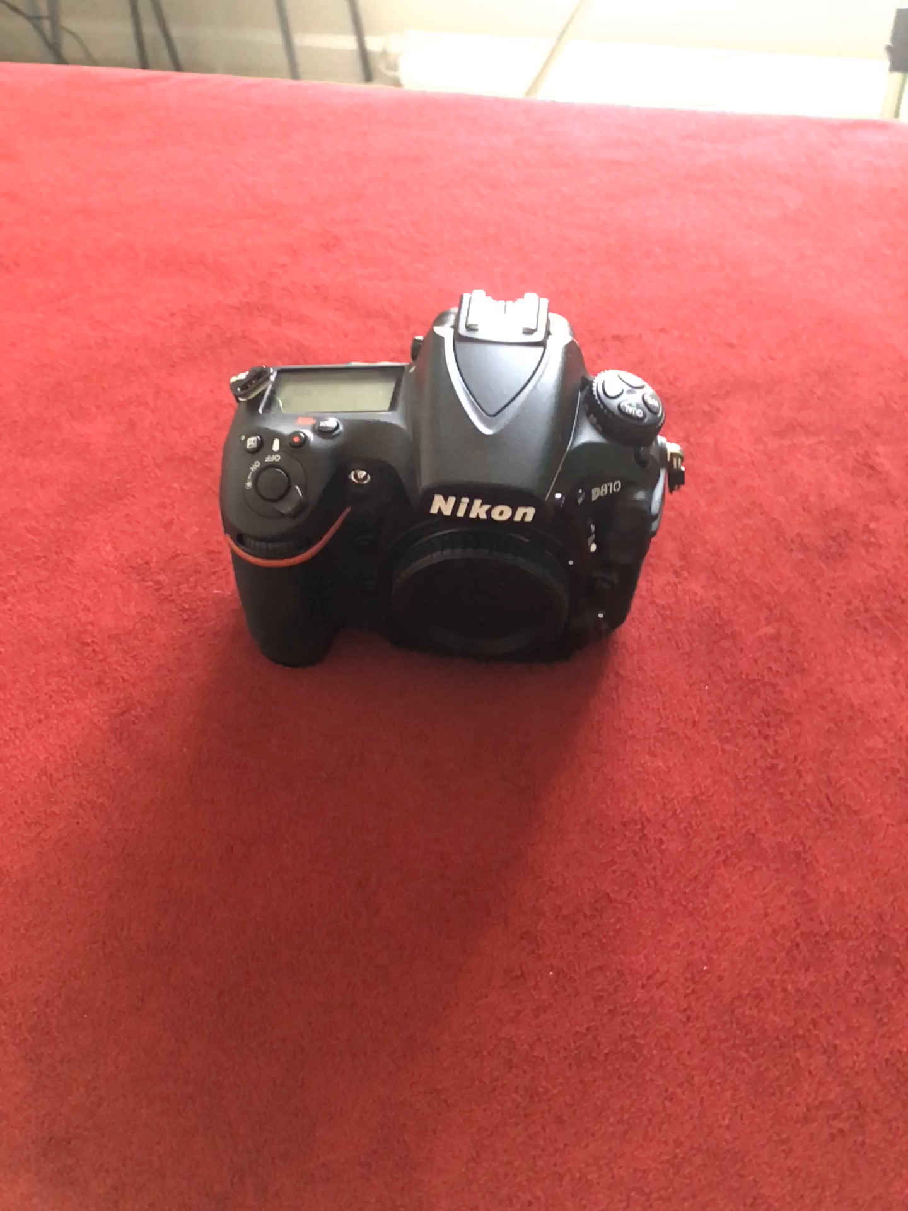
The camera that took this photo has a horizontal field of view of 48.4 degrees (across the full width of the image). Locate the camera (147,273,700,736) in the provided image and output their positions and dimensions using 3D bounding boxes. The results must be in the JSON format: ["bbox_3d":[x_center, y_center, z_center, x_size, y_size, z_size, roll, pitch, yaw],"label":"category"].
[{"bbox_3d":[-0.006,-0.029,0.341,0.145,0.129,0.083,3,52,3],"label":"camera"}]
